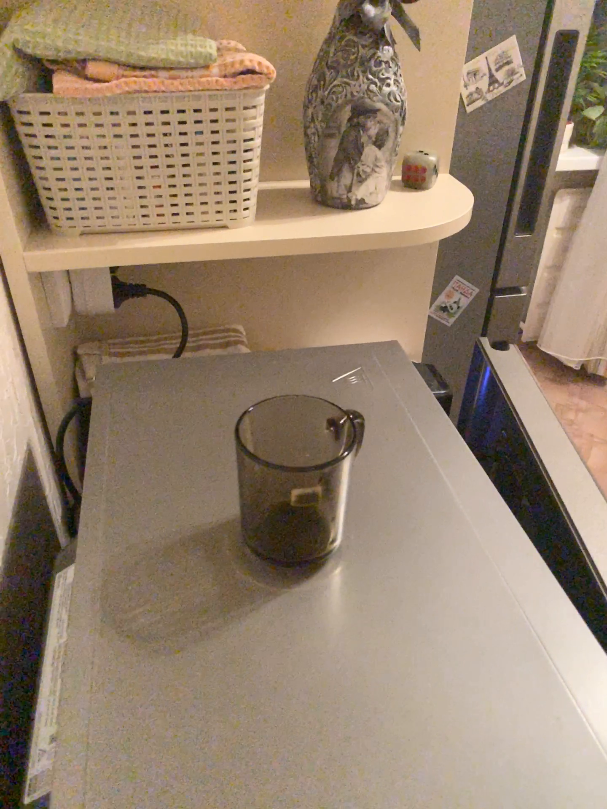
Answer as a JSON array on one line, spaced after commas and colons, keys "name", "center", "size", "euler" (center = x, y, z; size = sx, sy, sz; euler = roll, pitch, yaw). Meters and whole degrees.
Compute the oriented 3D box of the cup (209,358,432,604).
[{"name": "cup", "center": [0.012, 0.041, 0.384], "size": [0.080, 0.079, 0.111], "euler": [26, 42, 30]}]
